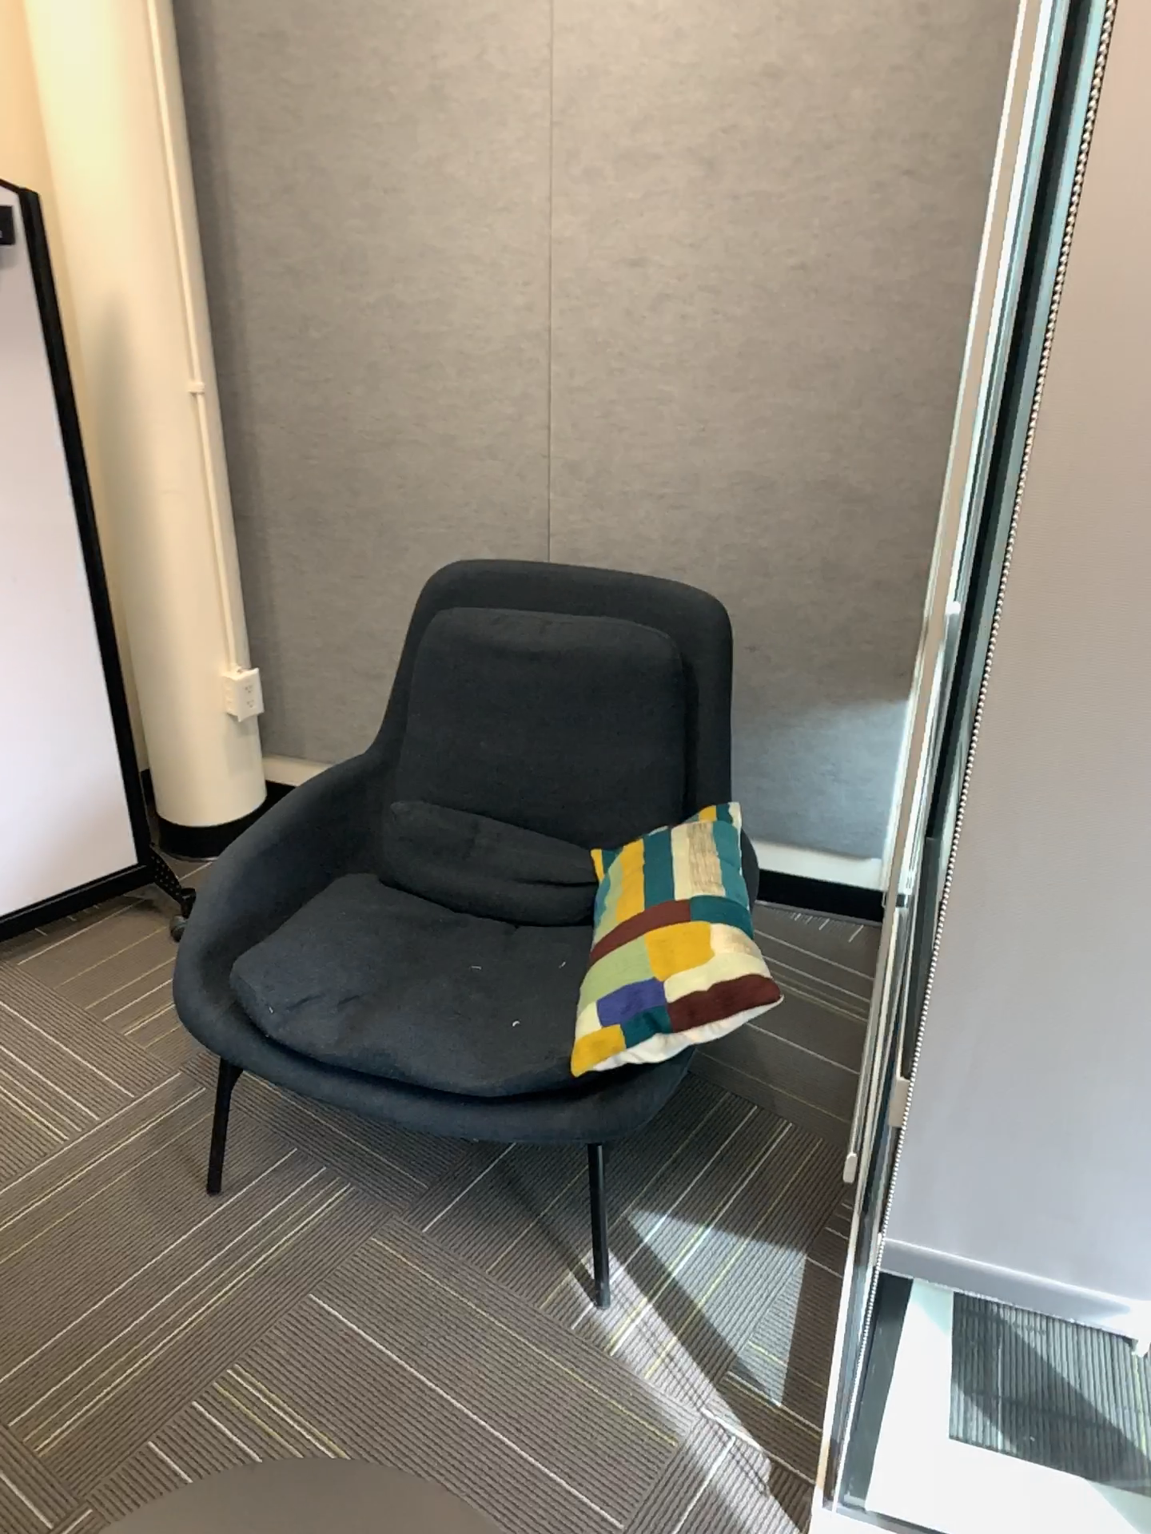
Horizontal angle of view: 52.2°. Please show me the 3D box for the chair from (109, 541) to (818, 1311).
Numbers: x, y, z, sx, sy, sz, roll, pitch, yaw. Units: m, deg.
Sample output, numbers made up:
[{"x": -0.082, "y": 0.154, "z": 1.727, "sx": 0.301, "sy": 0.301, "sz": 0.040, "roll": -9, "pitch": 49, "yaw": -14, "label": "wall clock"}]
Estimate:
[{"x": -0.112, "y": 0.170, "z": 2.138, "sx": 0.791, "sy": 0.815, "sz": 1.004, "roll": 12, "pitch": 29, "yaw": 21, "label": "chair"}]
